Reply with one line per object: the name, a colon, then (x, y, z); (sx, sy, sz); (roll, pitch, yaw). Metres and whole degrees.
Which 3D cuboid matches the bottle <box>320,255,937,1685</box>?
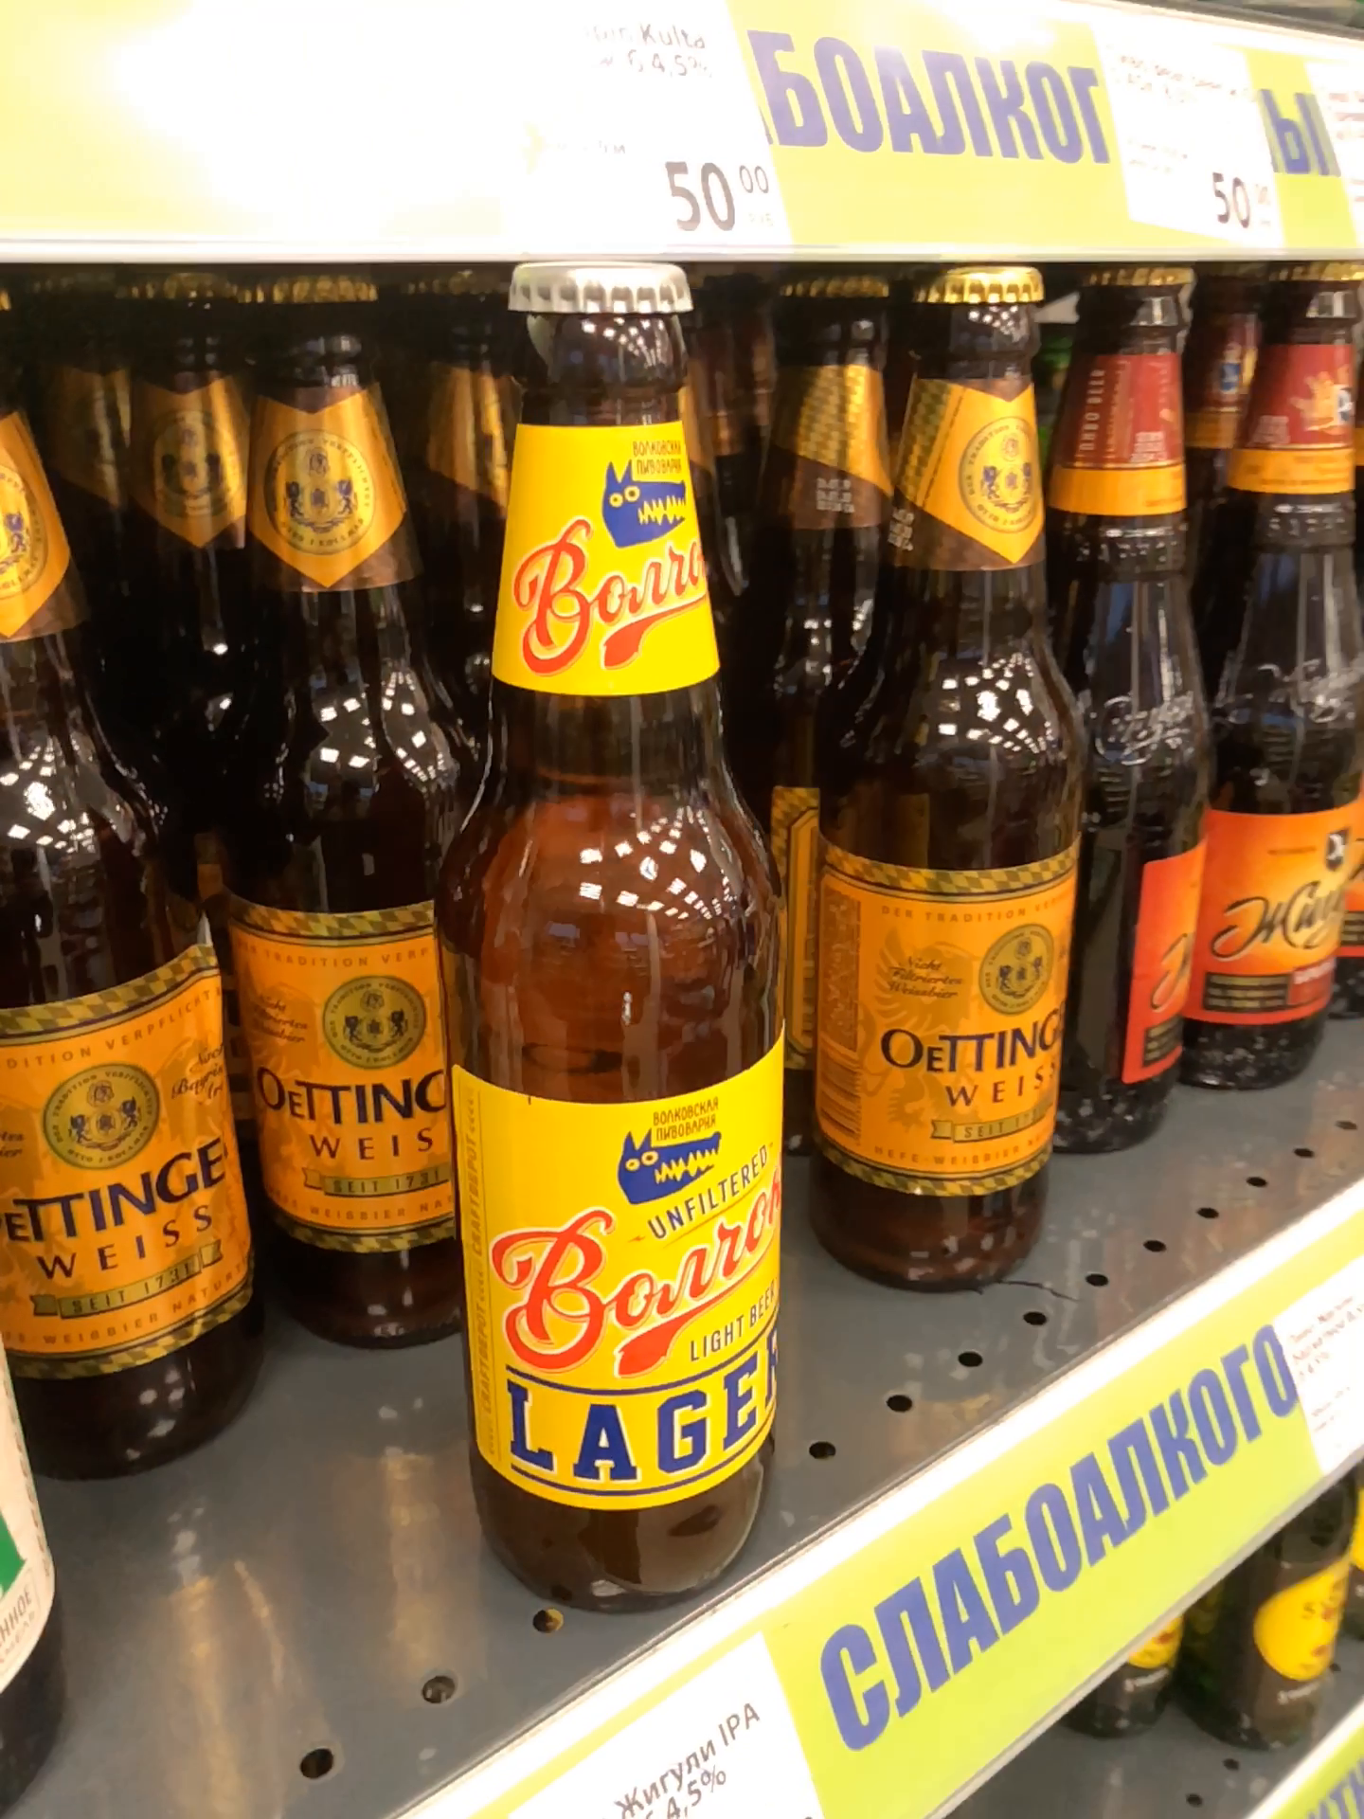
bottle: (-0.012, 0.013, 0.271); (0.070, 0.239, 0.070); (1, 23, 0)
